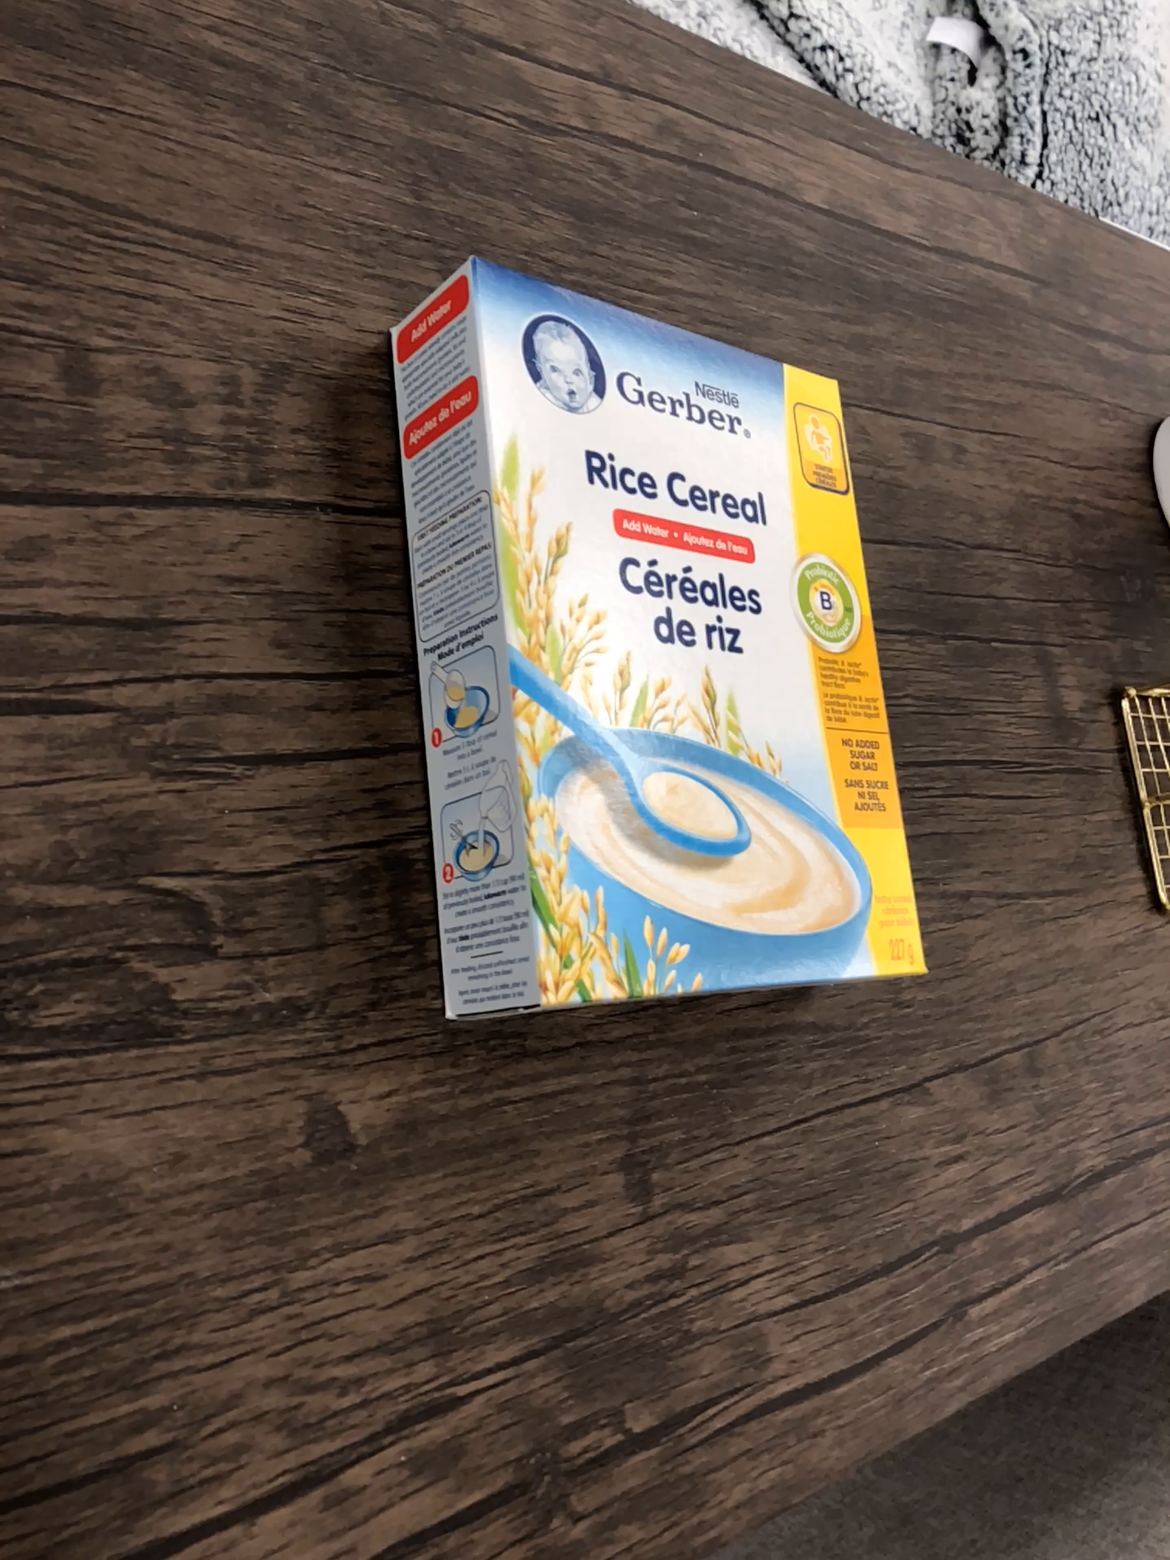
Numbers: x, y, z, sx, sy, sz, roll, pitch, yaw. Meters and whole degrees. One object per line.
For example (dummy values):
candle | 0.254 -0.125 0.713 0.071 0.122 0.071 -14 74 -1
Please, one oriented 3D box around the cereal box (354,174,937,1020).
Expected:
cereal box | 0.020 -0.041 0.363 0.151 0.050 0.200 3 78 -38
